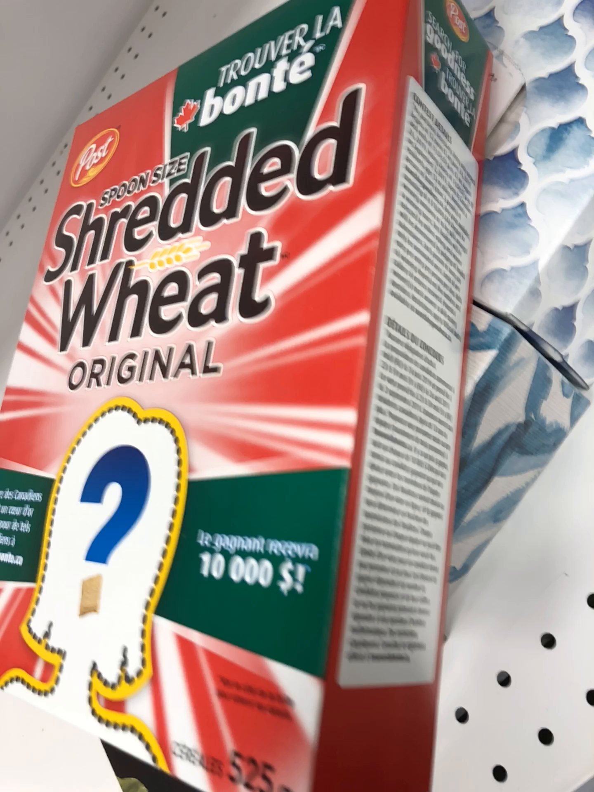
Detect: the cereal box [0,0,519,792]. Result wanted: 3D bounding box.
[{"bbox_3d":[-0.045,-0.022,0.259,0.231,0.060,0.280,-6,69,42],"label":"cereal box"}]
